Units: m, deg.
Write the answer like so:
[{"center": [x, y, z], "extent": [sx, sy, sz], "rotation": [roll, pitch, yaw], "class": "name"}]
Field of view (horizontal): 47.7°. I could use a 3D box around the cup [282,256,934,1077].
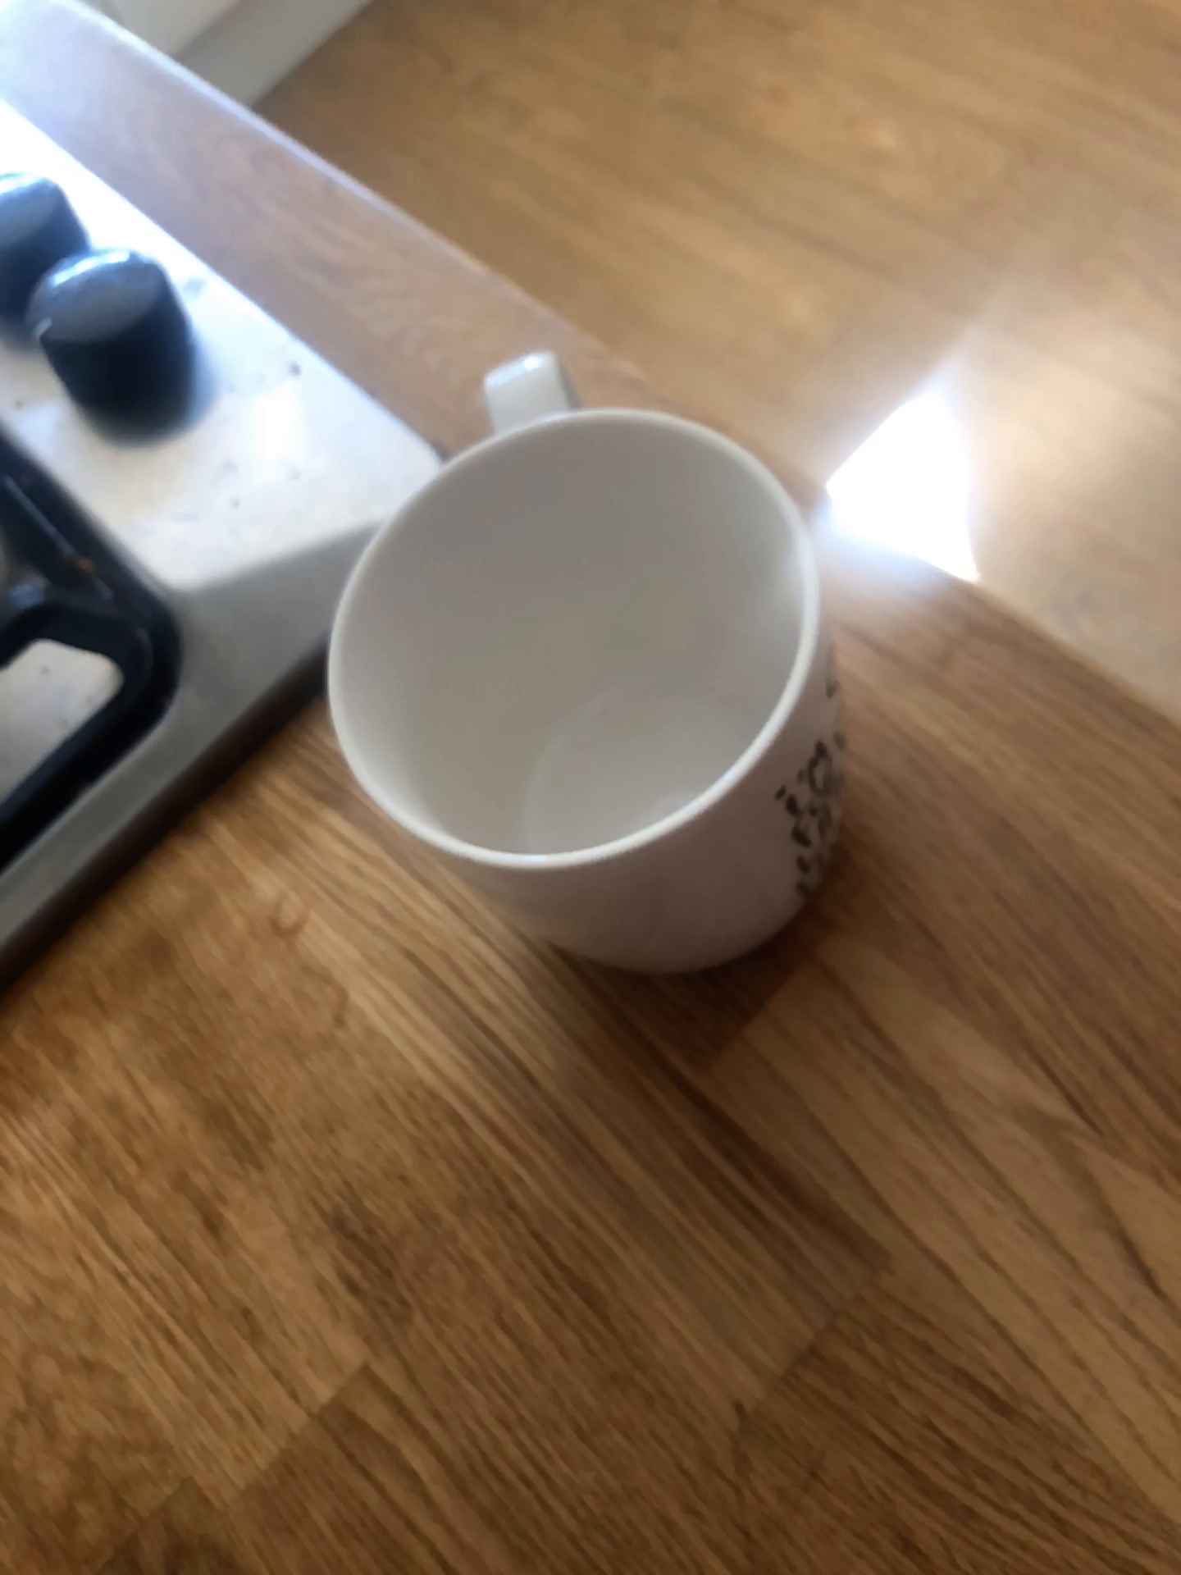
[{"center": [0.005, -0.018, 0.265], "extent": [0.090, 0.087, 0.114], "rotation": [-17, 63, 8], "class": "cup"}]
